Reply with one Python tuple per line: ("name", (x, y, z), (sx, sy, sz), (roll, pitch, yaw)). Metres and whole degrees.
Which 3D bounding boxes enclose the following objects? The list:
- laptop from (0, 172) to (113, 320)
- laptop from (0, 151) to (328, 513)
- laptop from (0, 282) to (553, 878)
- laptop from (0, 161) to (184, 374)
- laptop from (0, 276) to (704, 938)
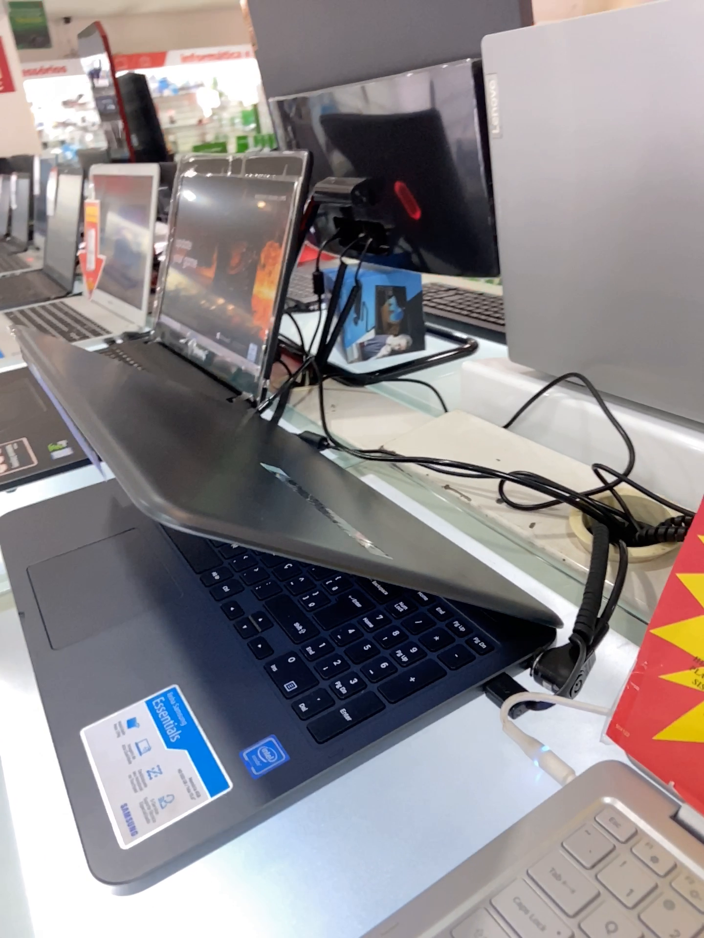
("laptop", (-0.737, -0.485, 1.527), (0.335, 0.201, 0.304), (-21, 31, -24))
("laptop", (-0.278, -0.206, 0.809), (0.372, 0.223, 0.395), (-22, 31, -27))
("laptop", (-0.098, 0.001, 0.450), (0.235, 0.139, 0.368), (-21, 29, -25))
("laptop", (-0.547, -0.370, 1.256), (0.342, 0.246, 0.331), (-20, 31, -24))
("laptop", (0.143, 0.103, 0.122), (0.296, 0.177, 0.316), (-21, 28, -25))
